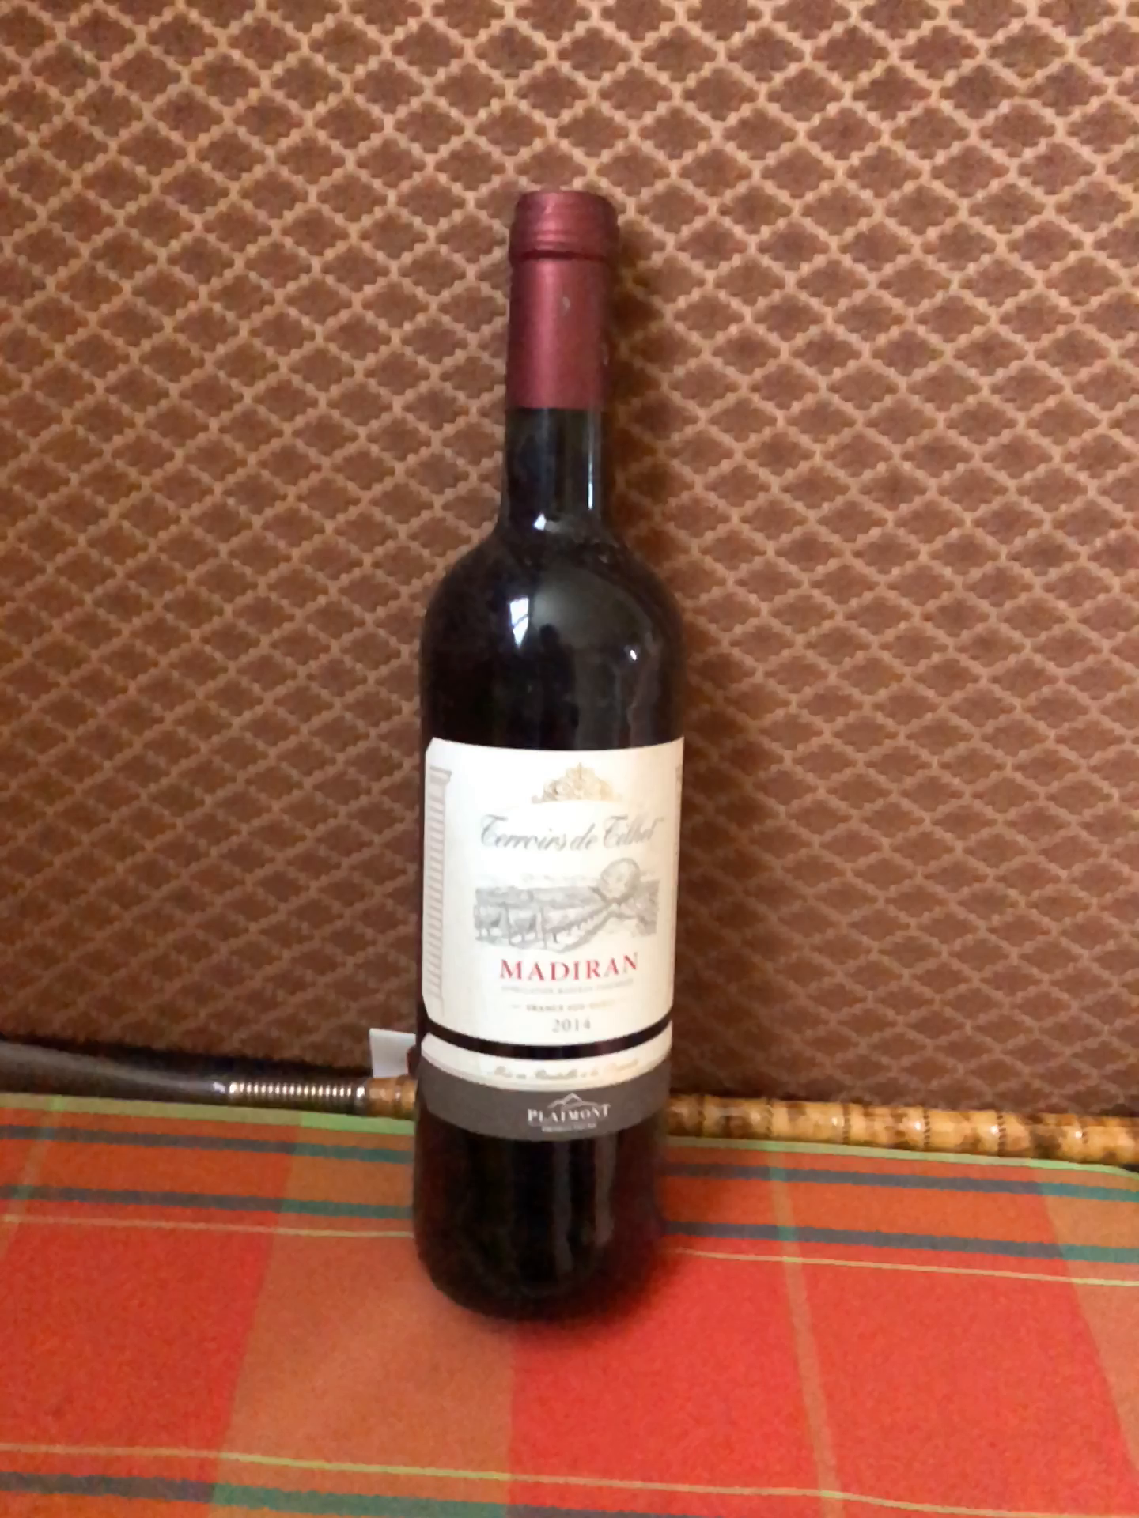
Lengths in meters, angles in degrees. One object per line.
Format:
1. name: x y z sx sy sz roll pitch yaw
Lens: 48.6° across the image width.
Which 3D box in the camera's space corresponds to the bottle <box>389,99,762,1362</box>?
1. bottle: -0.008 -0.002 0.344 0.080 0.299 0.090 0 11 -8
